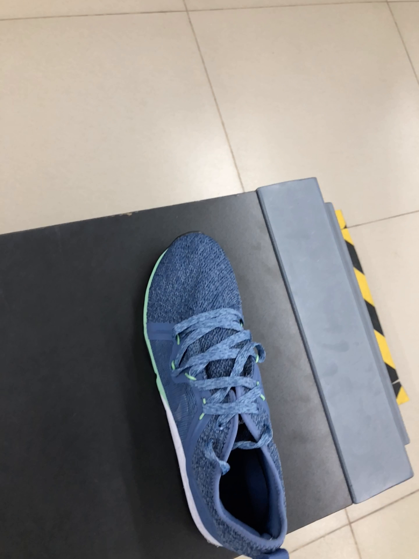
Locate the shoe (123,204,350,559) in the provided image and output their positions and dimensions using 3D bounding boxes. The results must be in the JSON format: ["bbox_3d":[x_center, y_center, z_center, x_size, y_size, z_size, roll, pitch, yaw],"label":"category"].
[{"bbox_3d":[0.012,0.090,0.383,0.100,0.080,0.280,-11,81,-19],"label":"shoe"}]
